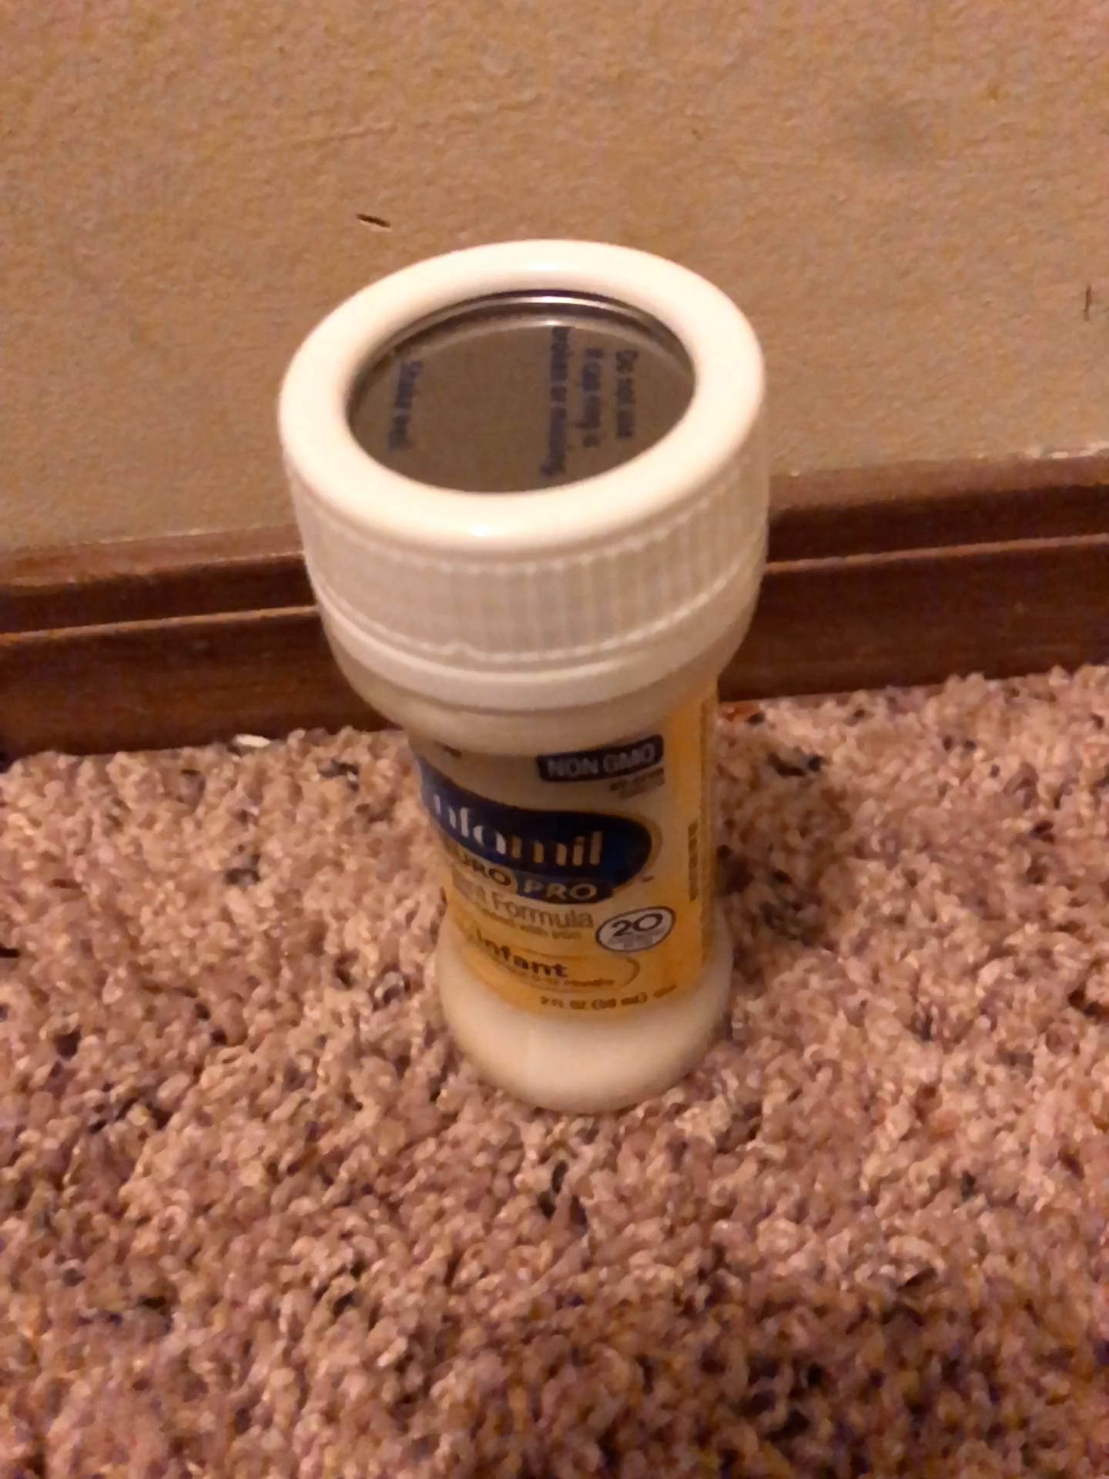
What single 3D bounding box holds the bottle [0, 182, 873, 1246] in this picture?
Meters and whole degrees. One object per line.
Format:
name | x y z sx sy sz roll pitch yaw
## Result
bottle | -0.003 0.007 0.141 0.050 0.110 0.050 -3 53 4
